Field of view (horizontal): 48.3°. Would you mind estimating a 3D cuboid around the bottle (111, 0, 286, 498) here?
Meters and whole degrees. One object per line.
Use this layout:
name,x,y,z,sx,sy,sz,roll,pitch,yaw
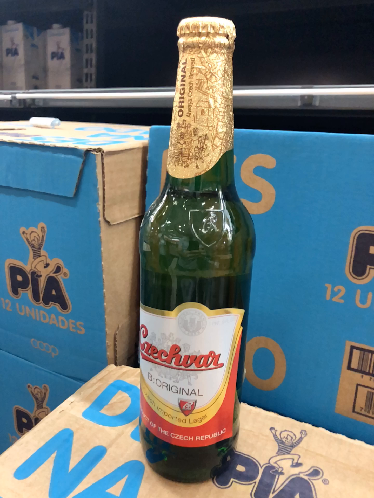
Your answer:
bottle,0.005,0.004,0.247,0.070,0.269,0.070,3,14,-1
